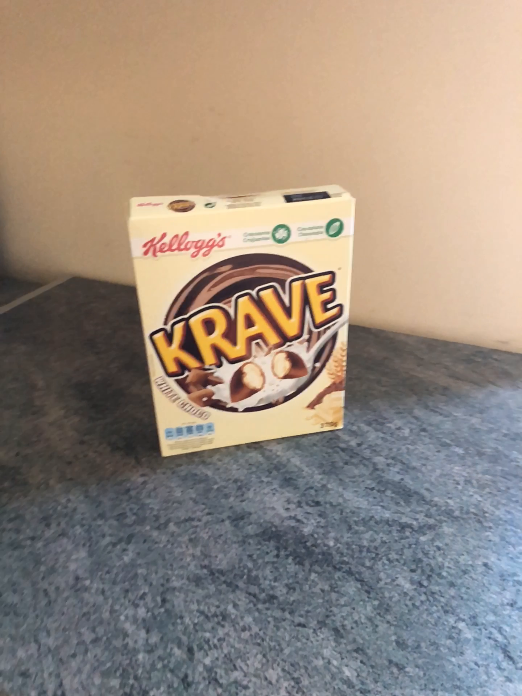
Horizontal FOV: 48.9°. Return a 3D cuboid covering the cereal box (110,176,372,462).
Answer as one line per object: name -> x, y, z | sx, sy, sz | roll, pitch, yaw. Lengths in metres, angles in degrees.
cereal box -> -0.021, -0.024, 0.547 | 0.210, 0.248, 0.070 | -6, 32, -13
